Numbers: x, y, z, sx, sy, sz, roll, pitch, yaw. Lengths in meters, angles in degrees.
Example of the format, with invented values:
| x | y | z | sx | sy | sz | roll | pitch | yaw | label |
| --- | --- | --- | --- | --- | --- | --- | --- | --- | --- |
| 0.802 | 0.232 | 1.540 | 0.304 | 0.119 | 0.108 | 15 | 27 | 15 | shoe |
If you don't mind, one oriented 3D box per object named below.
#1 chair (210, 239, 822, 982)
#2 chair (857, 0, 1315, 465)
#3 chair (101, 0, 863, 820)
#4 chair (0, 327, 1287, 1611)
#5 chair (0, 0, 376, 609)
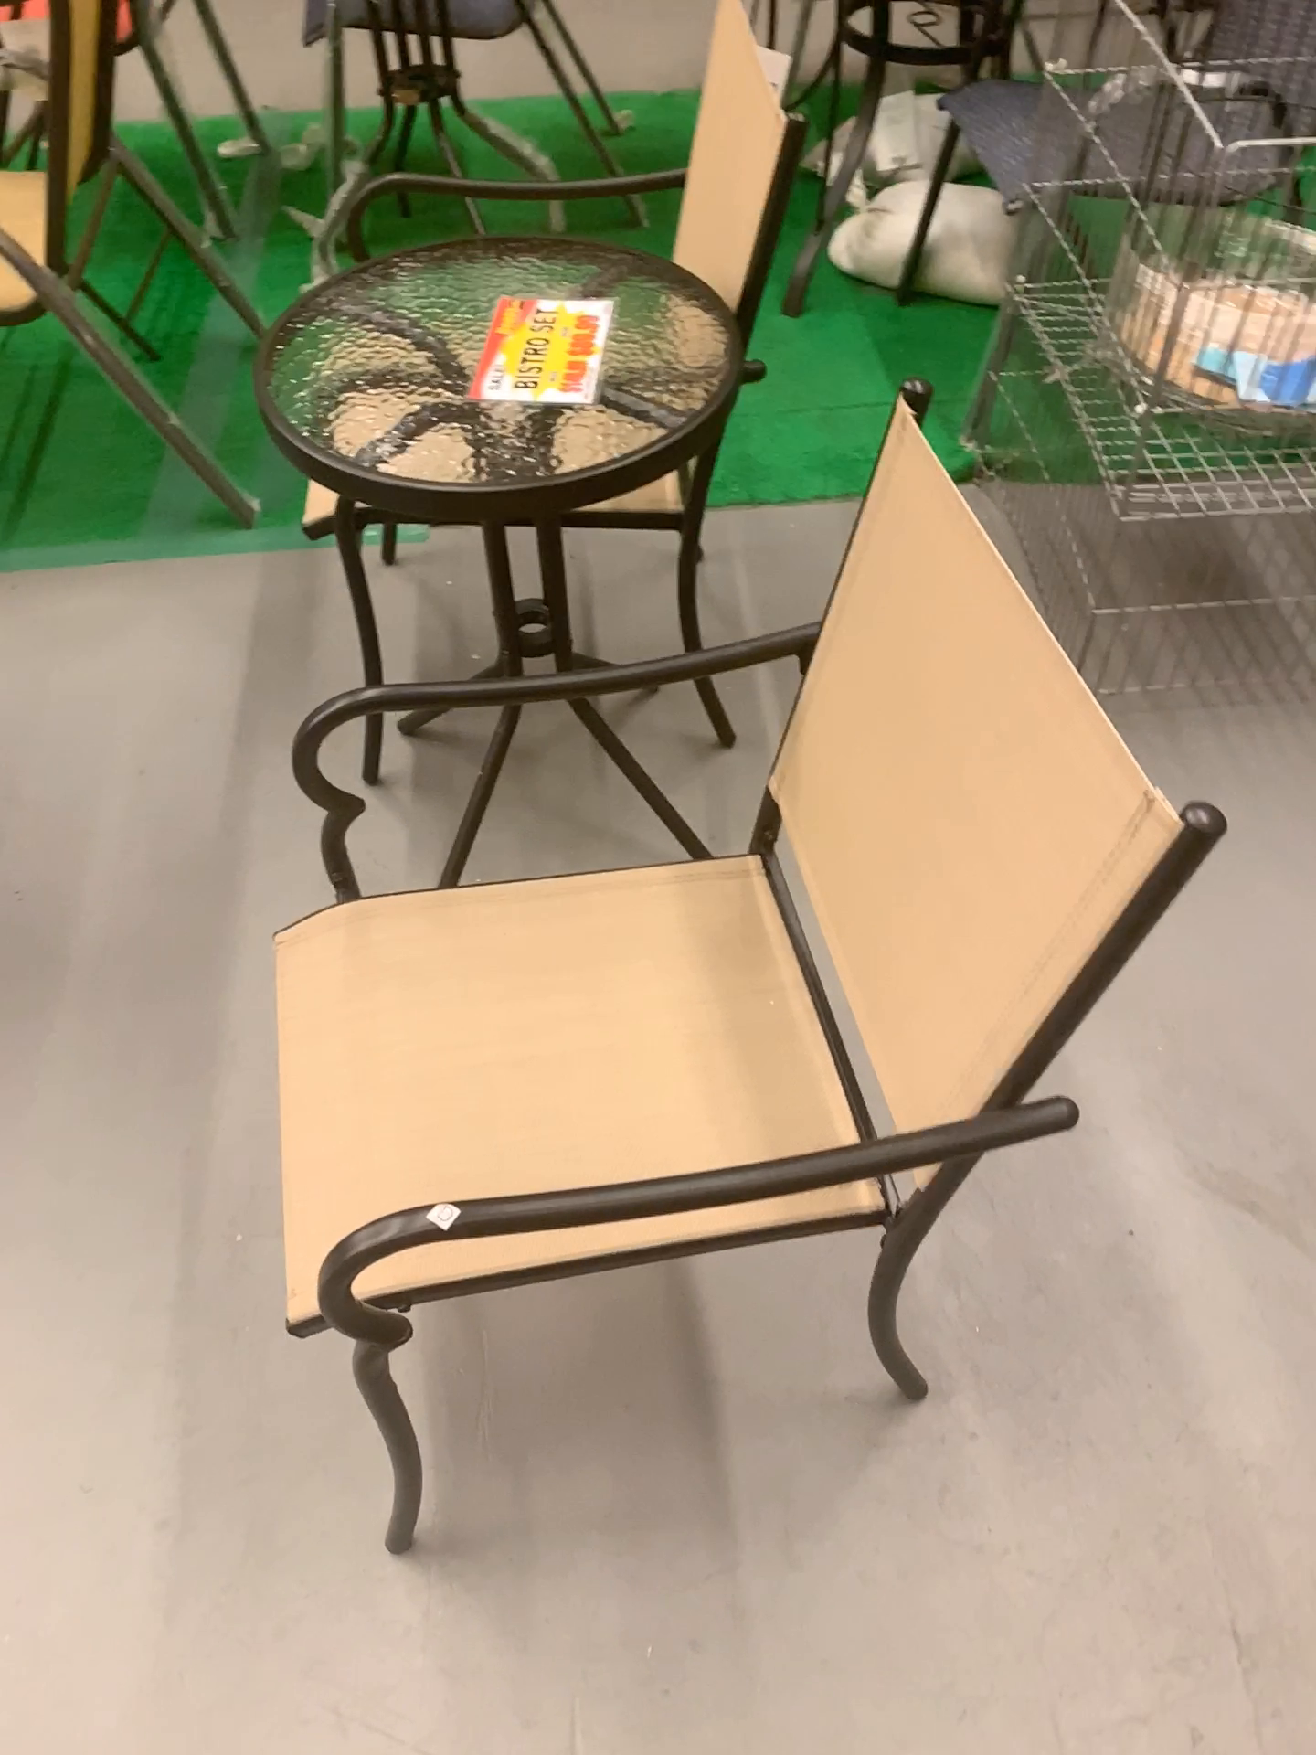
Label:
| x | y | z | sx | sy | sz | roll | pitch | yaw | label |
| --- | --- | --- | --- | --- | --- | --- | --- | --- | --- |
| -0.149 | -0.304 | 1.599 | 0.545 | 0.634 | 0.526 | -6 | 50 | -4 | chair |
| 0.779 | -1.324 | 2.231 | 0.675 | 0.953 | 0.667 | -6 | 50 | -3 | chair |
| -0.177 | -0.647 | 1.734 | 0.675 | 0.923 | 0.617 | -6 | 50 | -3 | chair |
| -0.048 | 0.130 | 1.123 | 0.615 | 0.863 | 0.576 | -10 | 50 | -7 | chair |
| -1.071 | -1.117 | 2.137 | 1.025 | 0.983 | 0.807 | -5 | 50 | -3 | chair |
